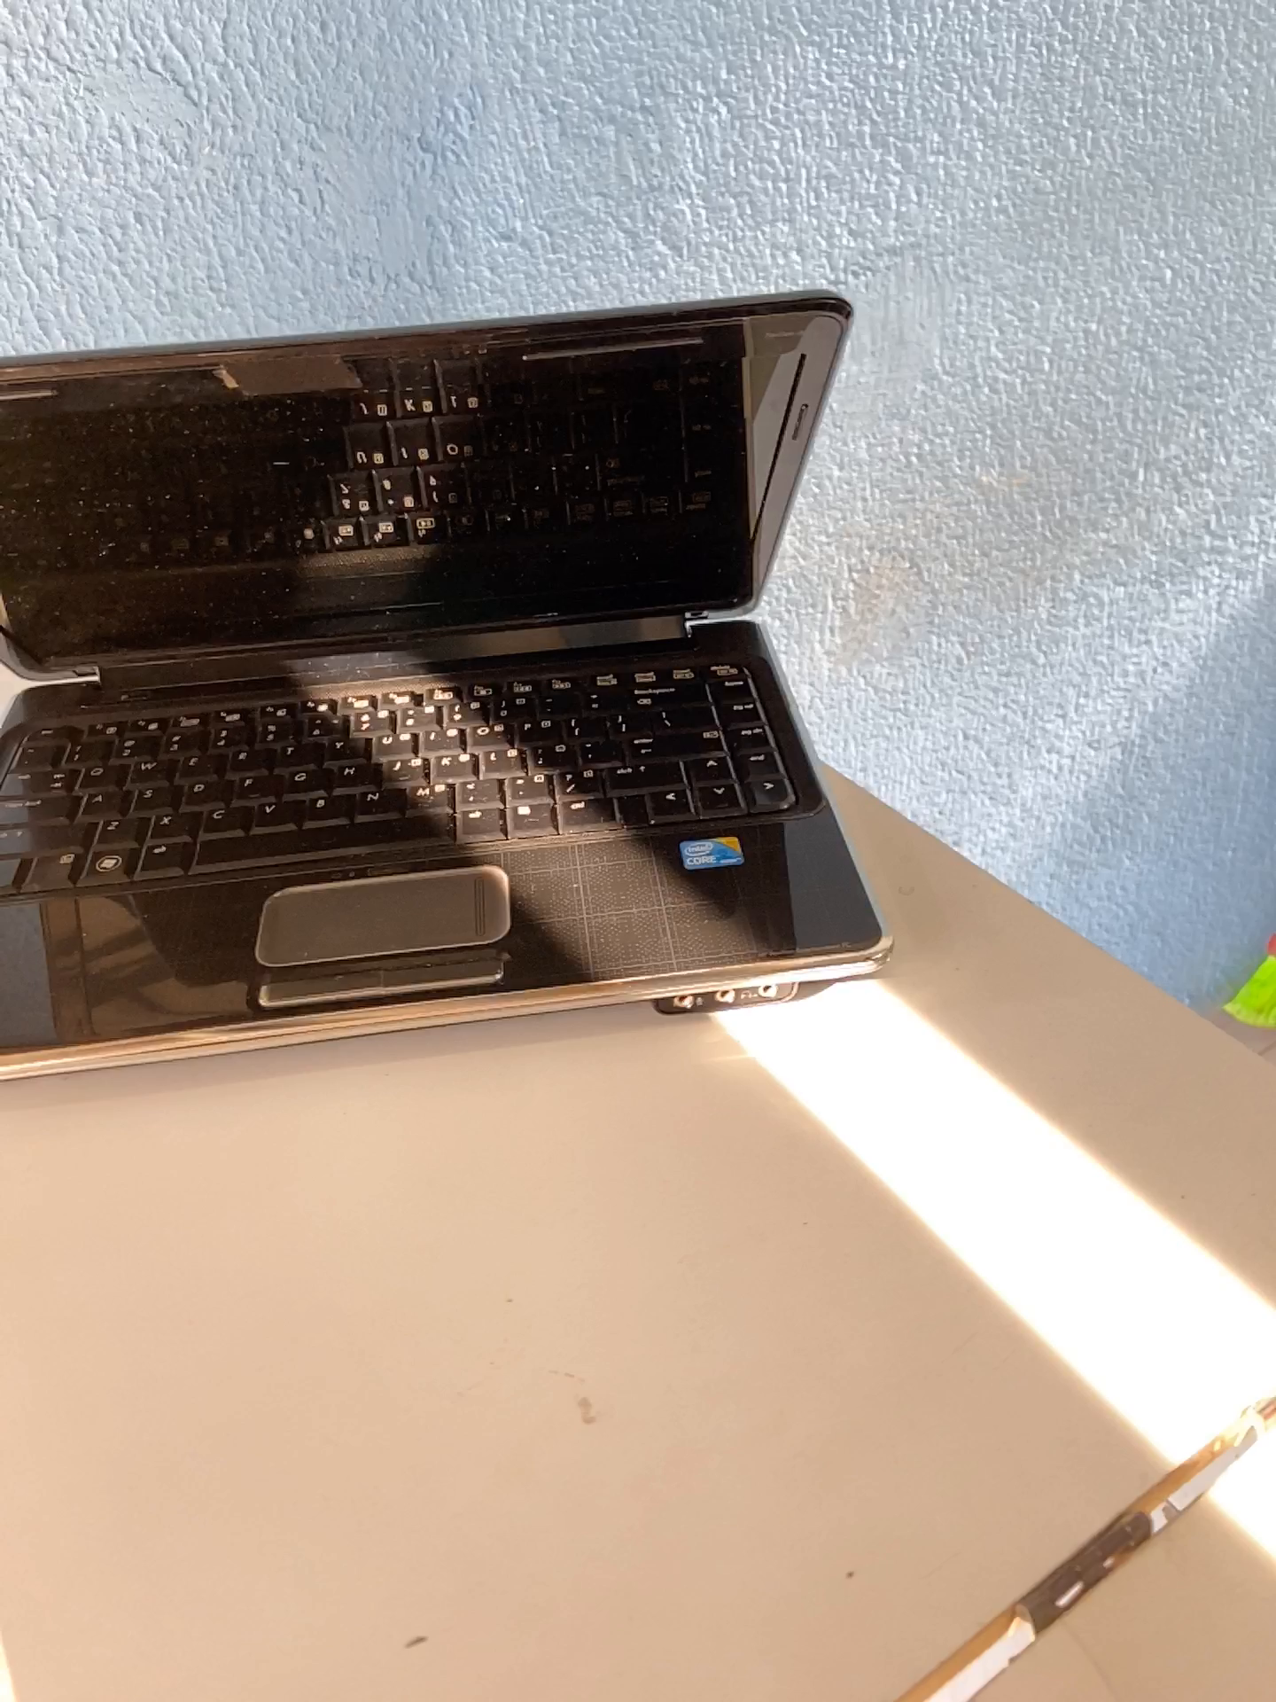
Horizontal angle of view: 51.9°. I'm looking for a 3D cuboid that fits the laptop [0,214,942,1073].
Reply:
[{"bbox_3d":[-0.095,-0.087,0.446,0.325,0.165,0.226,-6,37,-3],"label":"laptop"}]
